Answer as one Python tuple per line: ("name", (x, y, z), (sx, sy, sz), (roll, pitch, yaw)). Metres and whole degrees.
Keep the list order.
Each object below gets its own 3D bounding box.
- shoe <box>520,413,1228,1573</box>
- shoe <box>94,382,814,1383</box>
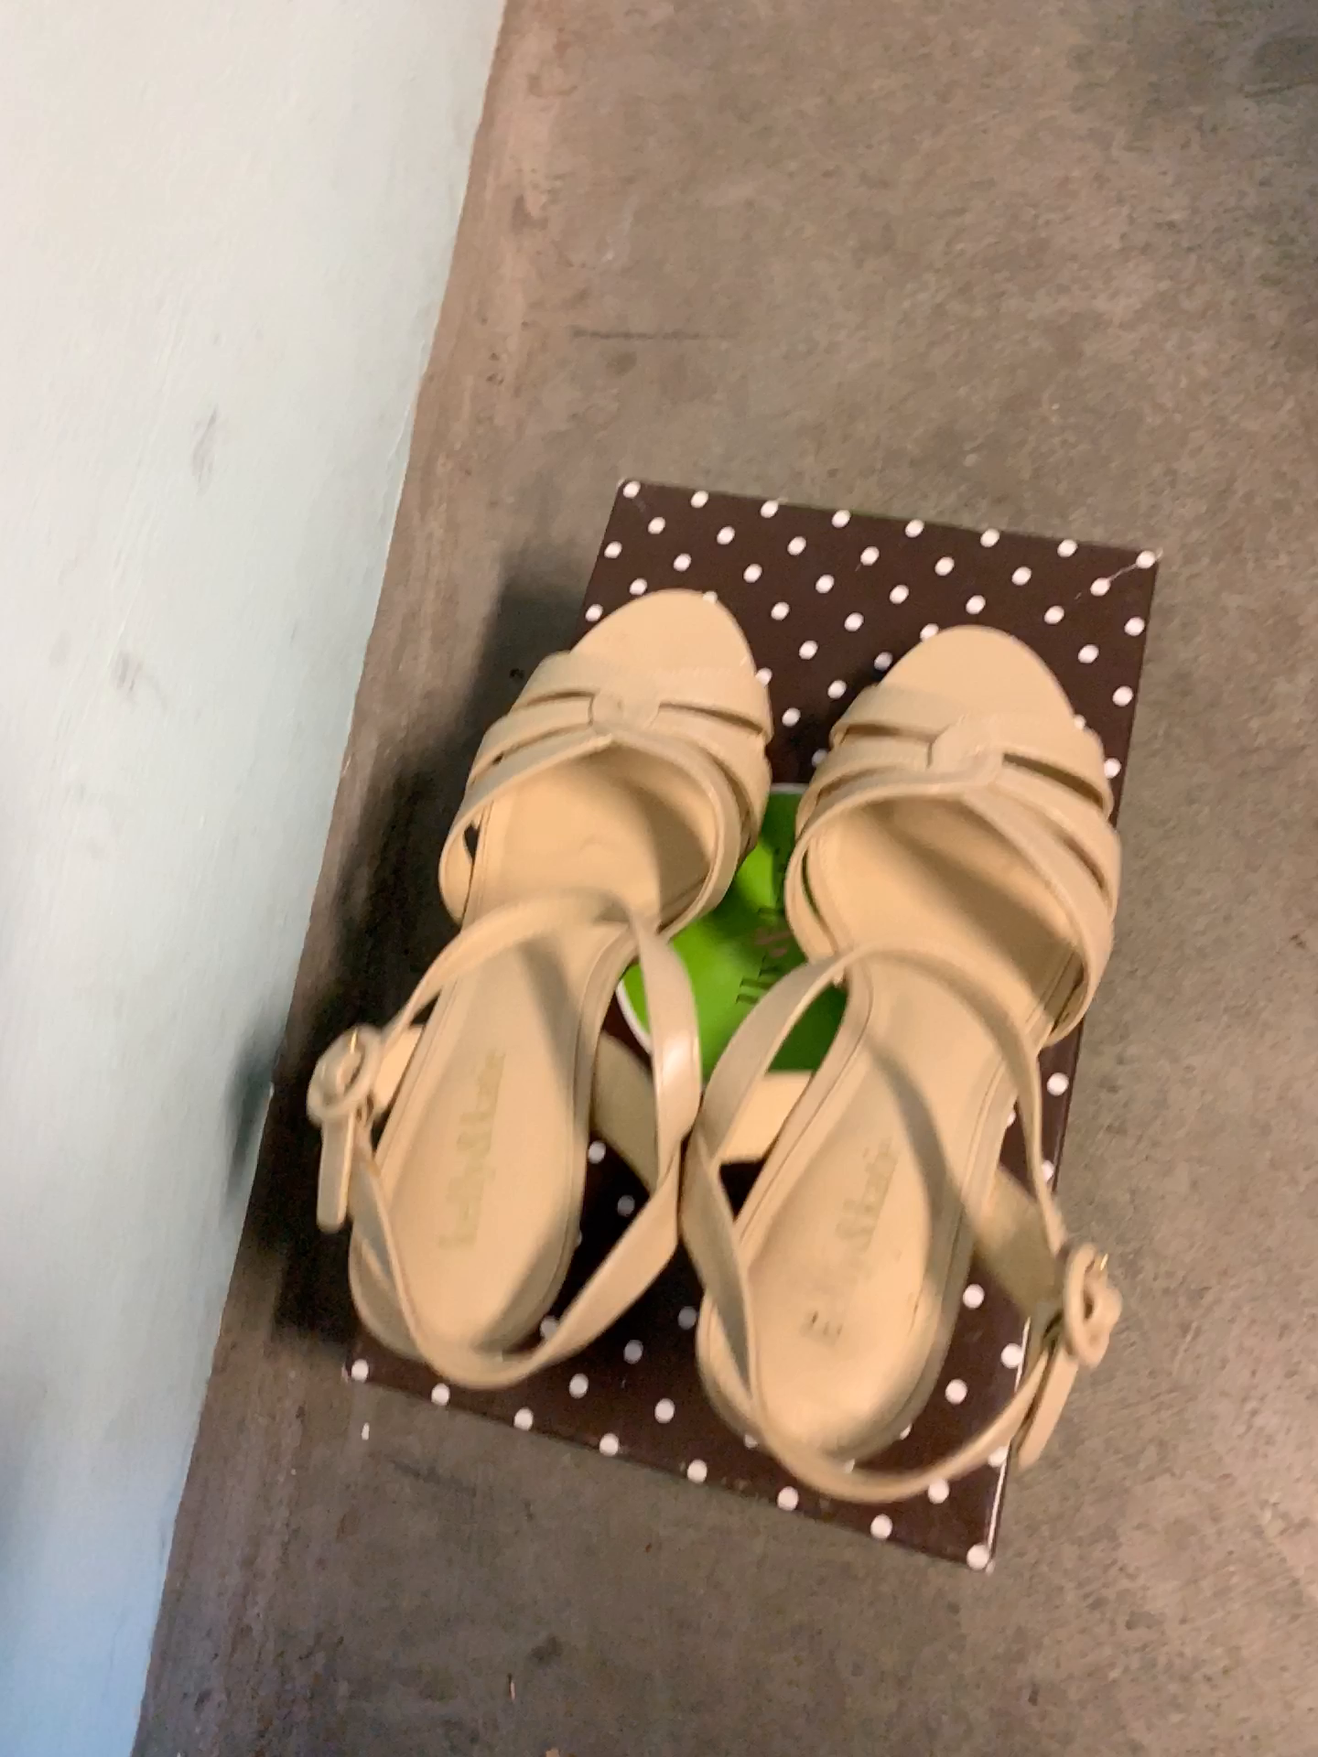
("shoe", (0.062, 0.022, 0.342), (0.100, 0.109, 0.241), (12, 72, 14))
("shoe", (-0.037, 0.001, 0.377), (0.100, 0.109, 0.241), (12, 72, 14))
